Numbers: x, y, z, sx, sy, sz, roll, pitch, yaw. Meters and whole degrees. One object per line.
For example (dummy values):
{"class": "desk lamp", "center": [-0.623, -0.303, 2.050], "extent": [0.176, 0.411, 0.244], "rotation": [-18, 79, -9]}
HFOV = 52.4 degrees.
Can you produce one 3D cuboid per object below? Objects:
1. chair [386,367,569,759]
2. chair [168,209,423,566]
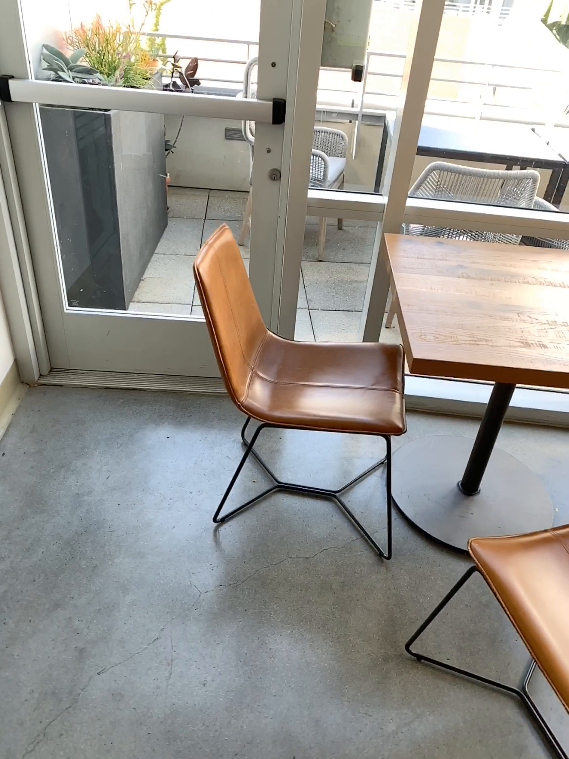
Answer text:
{"class": "chair", "center": [0.621, 0.506, 1.125], "extent": [0.490, 0.865, 0.543], "rotation": [-6, 40, -16]}
{"class": "chair", "center": [0.046, 0.027, 1.680], "extent": [0.550, 0.865, 0.493], "rotation": [5, 35, 6]}
